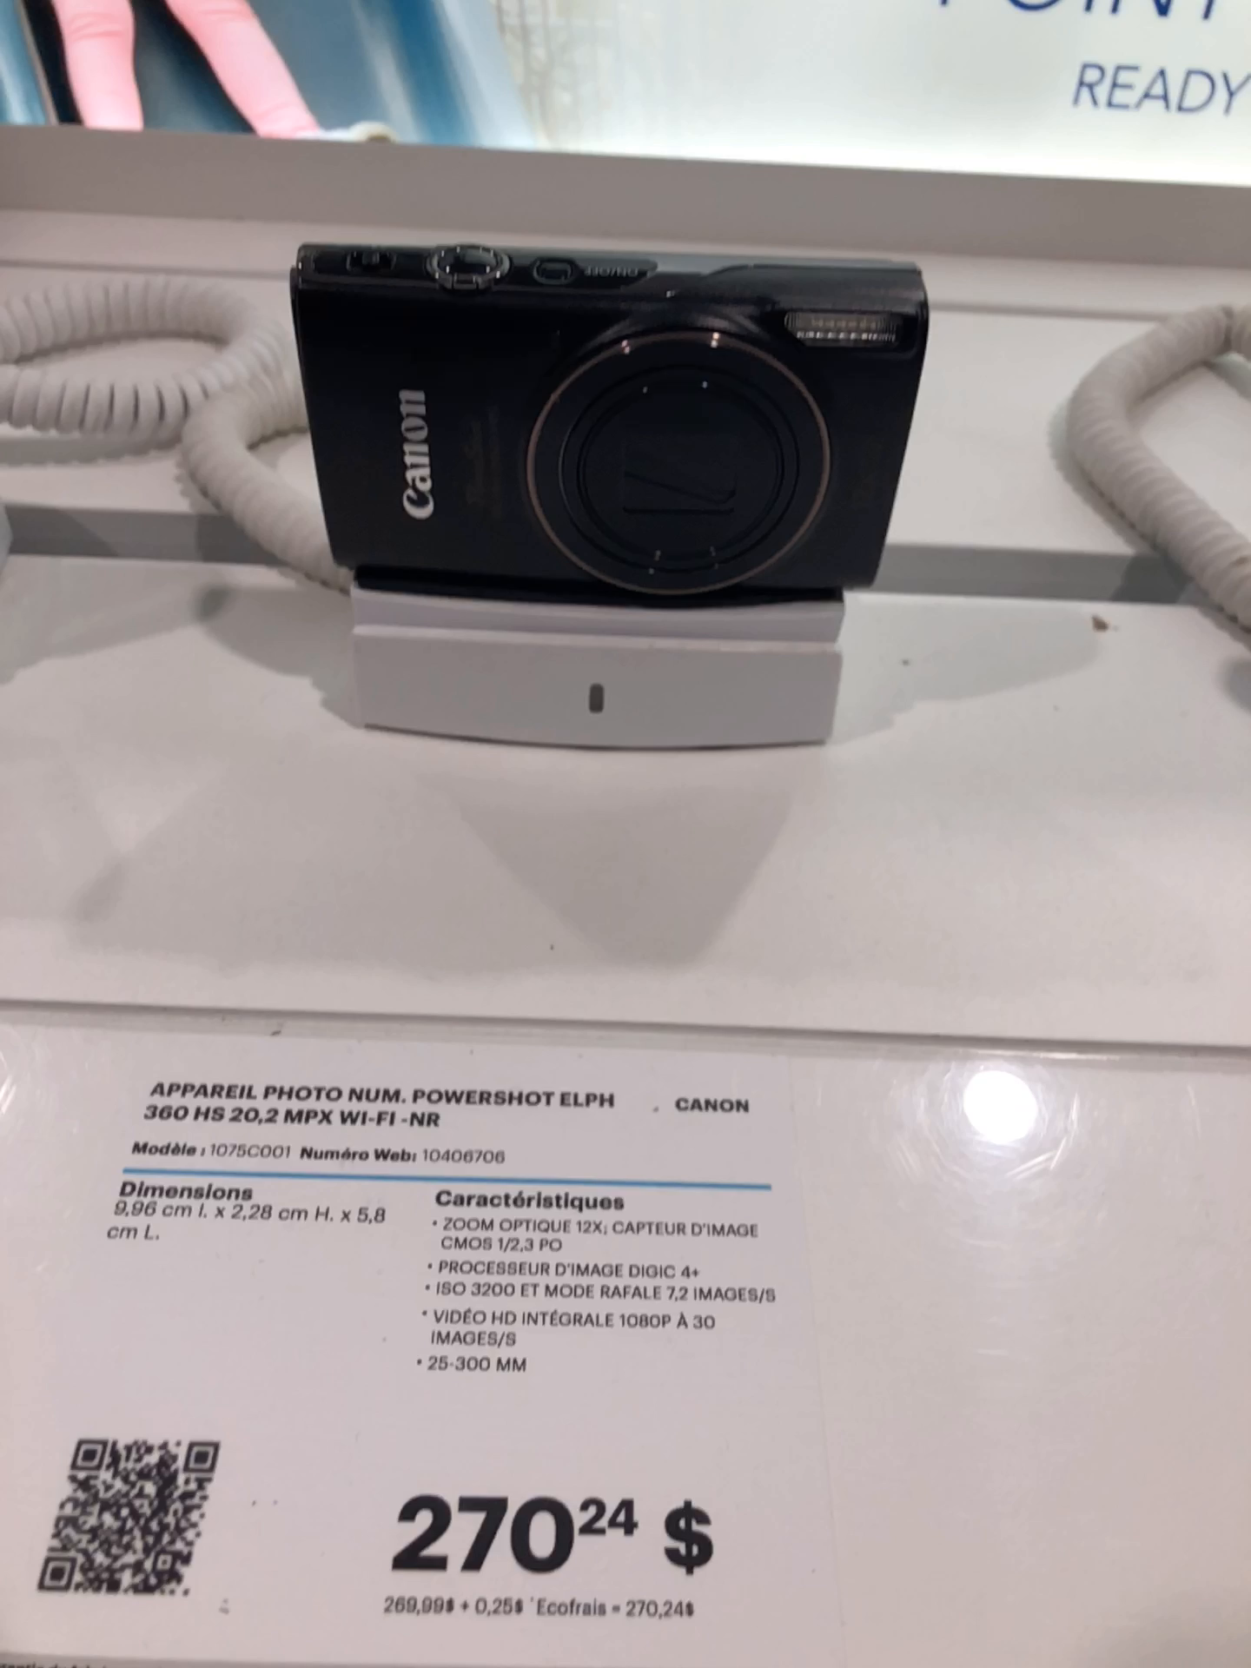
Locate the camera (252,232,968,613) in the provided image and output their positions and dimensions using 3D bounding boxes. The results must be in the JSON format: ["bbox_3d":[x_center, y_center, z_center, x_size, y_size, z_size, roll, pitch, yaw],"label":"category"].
[{"bbox_3d":[-0.003,-0.072,0.250,0.113,0.057,0.026,1,43,-2],"label":"camera"}]
